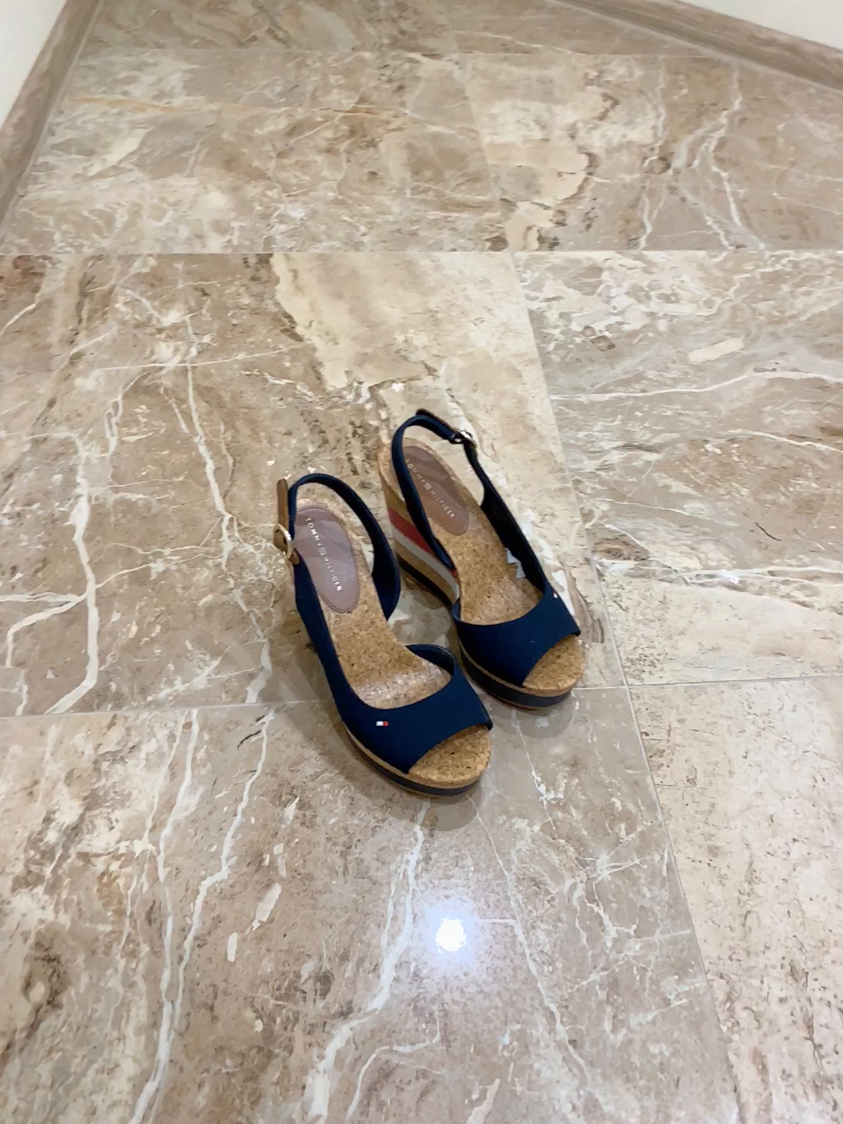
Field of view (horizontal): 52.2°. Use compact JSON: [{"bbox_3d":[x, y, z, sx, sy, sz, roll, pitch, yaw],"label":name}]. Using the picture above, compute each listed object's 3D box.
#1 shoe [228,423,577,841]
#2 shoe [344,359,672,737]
[{"bbox_3d":[-0.021,0.041,0.548,0.090,0.145,0.211,-30,58,-26],"label":"shoe"},{"bbox_3d":[0.046,-0.013,0.601,0.090,0.145,0.211,-30,58,-26],"label":"shoe"}]
